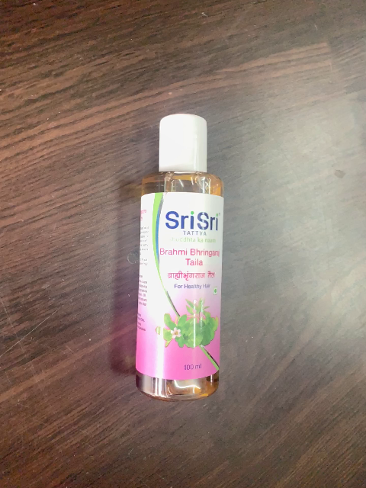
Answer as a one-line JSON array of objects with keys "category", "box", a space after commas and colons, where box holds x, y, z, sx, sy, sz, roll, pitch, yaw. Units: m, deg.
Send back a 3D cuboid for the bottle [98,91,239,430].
[{"category": "bottle", "box": [-0.008, 0.007, 0.174, 0.050, 0.040, 0.130, 2, 88, -21]}]
